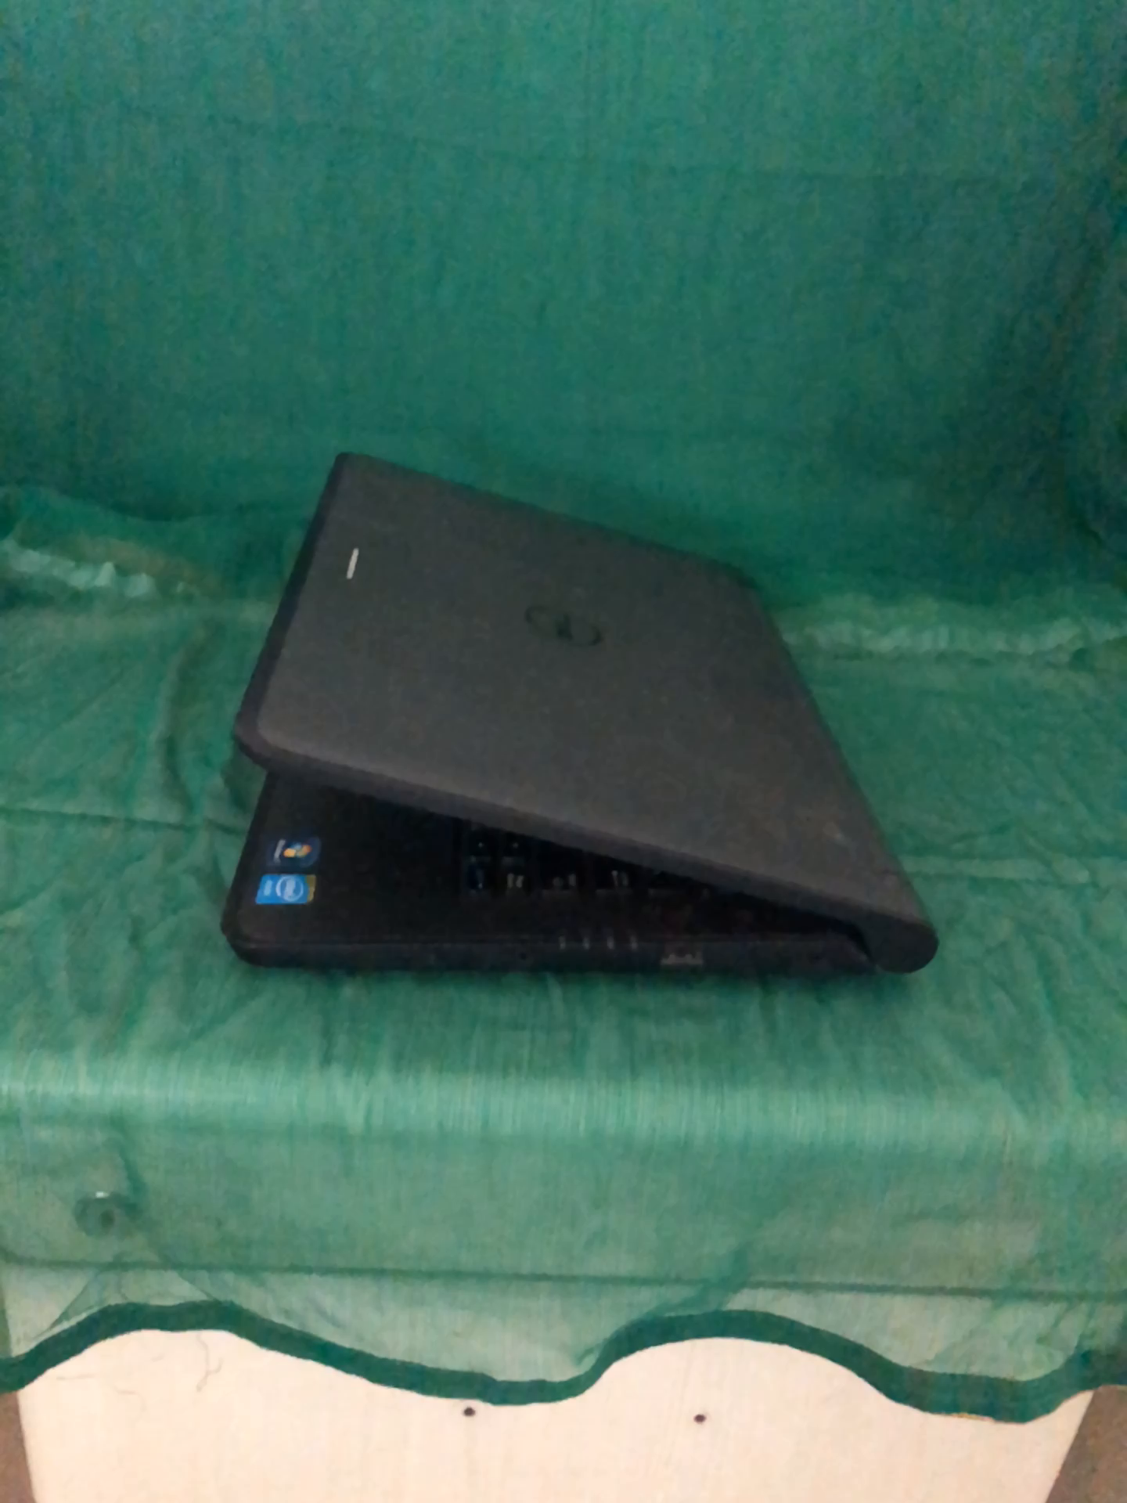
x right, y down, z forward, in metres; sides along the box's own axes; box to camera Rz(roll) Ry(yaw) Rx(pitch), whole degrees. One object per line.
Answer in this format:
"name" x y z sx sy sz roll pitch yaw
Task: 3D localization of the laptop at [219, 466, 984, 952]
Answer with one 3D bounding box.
"laptop" 0.002 -0.039 0.520 0.229 0.064 0.307 3 28 -5
